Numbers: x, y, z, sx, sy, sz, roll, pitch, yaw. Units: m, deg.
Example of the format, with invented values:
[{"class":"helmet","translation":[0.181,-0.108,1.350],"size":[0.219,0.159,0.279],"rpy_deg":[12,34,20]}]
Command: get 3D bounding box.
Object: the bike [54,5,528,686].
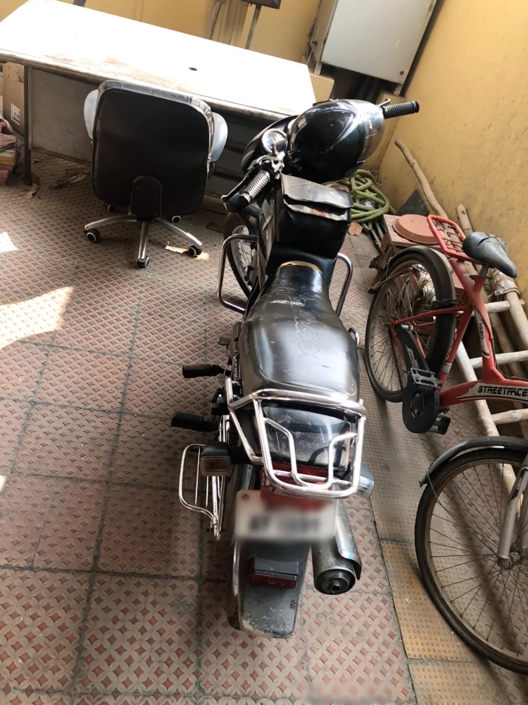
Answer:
[{"class":"bike","translation":[-0.094,-0.160,1.672],"size":[0.713,1.027,1.624],"rpy_deg":[8,40,-13]}]
